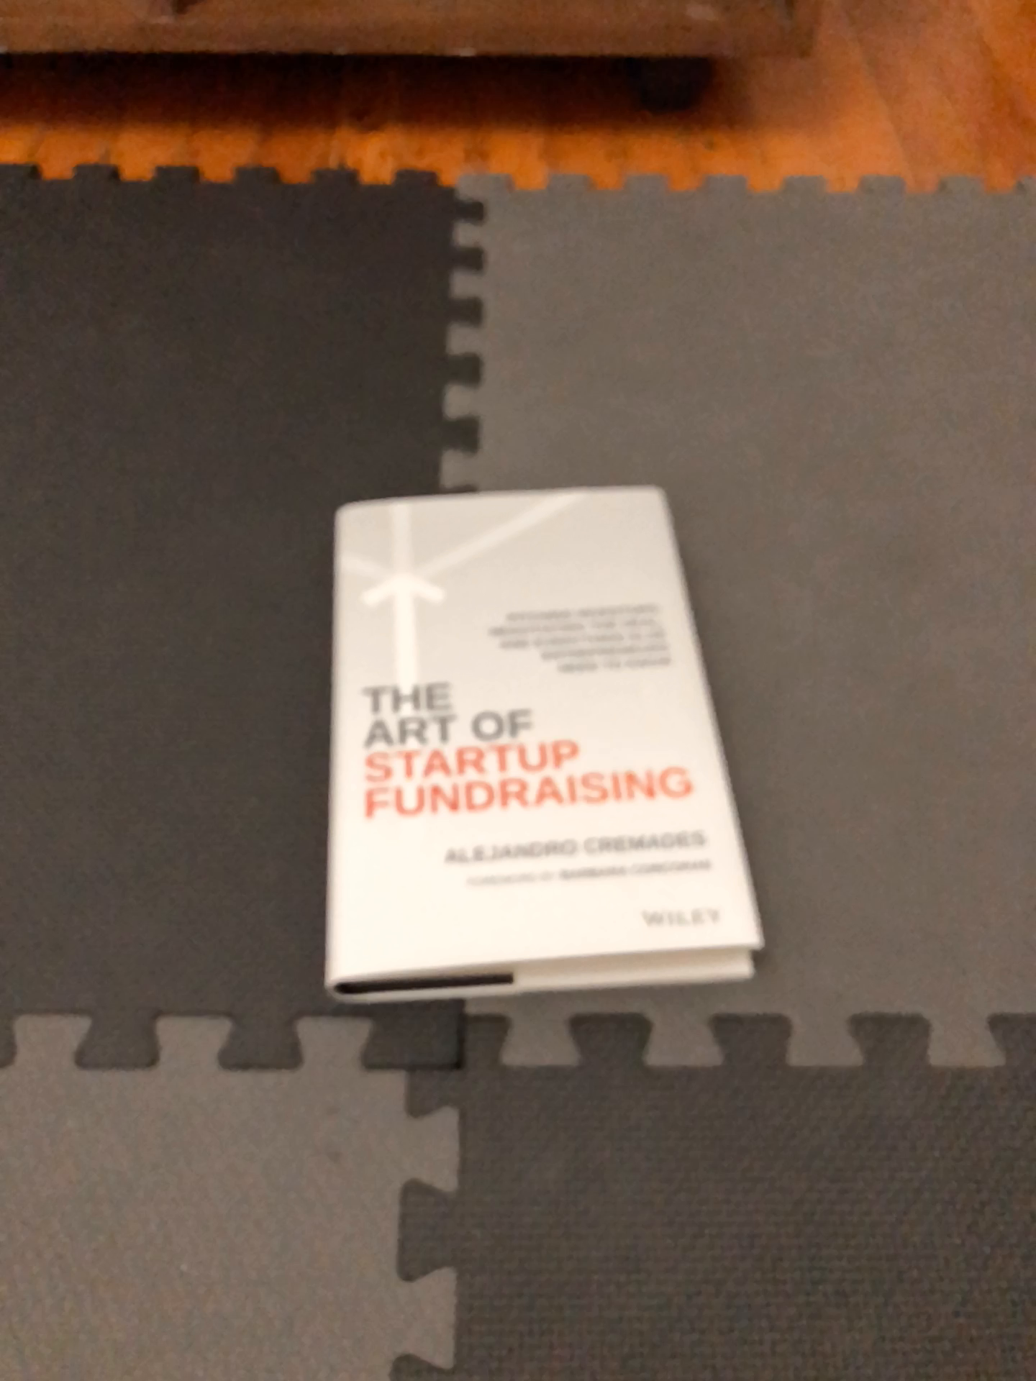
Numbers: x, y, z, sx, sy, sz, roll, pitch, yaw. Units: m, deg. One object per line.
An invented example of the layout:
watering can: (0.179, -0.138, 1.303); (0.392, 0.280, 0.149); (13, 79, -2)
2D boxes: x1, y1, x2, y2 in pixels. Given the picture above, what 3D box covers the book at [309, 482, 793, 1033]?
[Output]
book: (0.005, 0.013, 0.496); (0.170, 0.030, 0.251); (-2, 54, -2)
